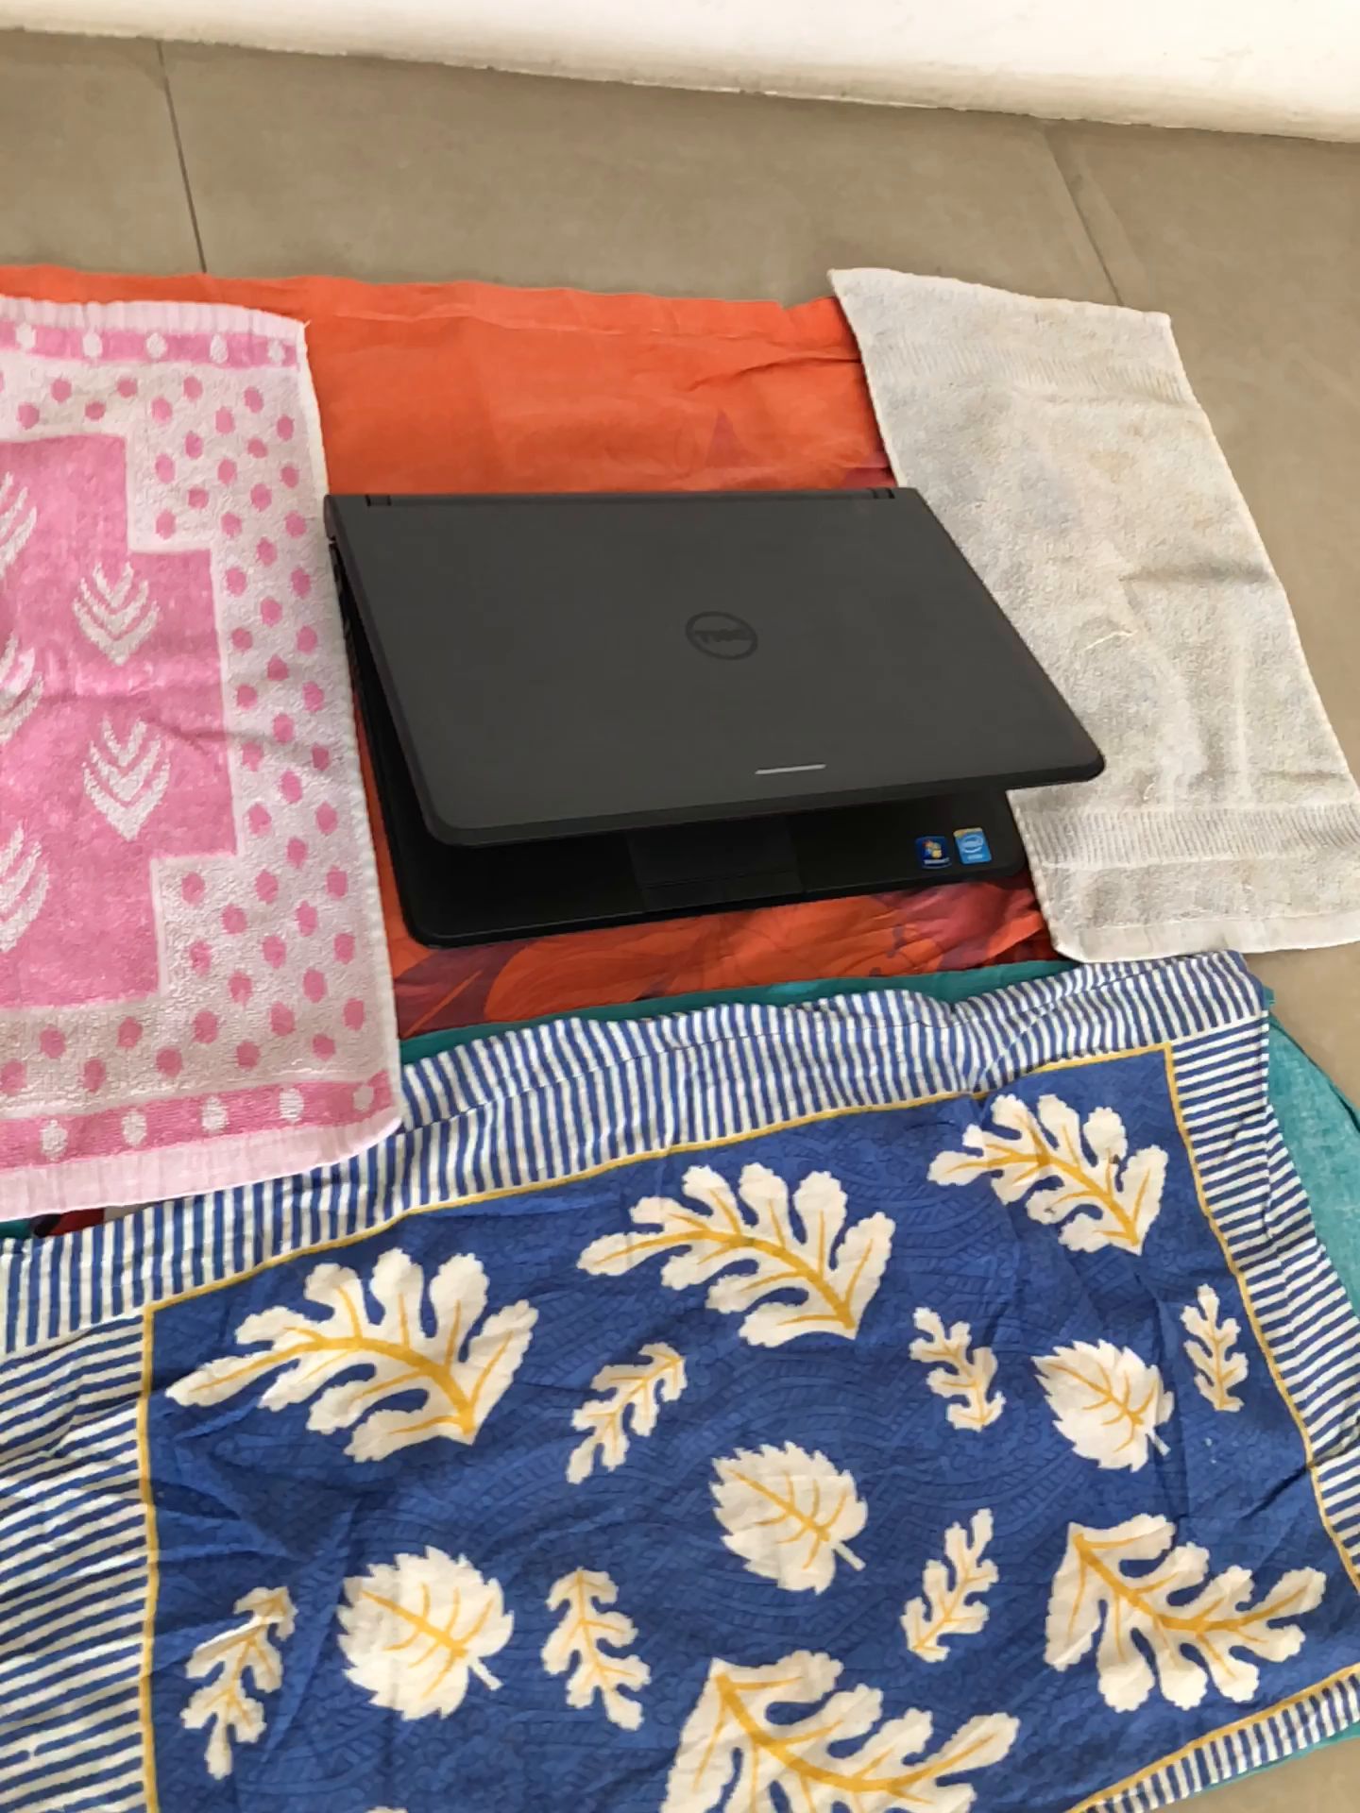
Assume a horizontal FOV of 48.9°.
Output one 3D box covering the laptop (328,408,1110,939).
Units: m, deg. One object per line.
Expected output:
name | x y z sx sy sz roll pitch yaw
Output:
laptop | 0.014 -0.123 0.713 0.315 0.078 0.227 -8 67 -22
